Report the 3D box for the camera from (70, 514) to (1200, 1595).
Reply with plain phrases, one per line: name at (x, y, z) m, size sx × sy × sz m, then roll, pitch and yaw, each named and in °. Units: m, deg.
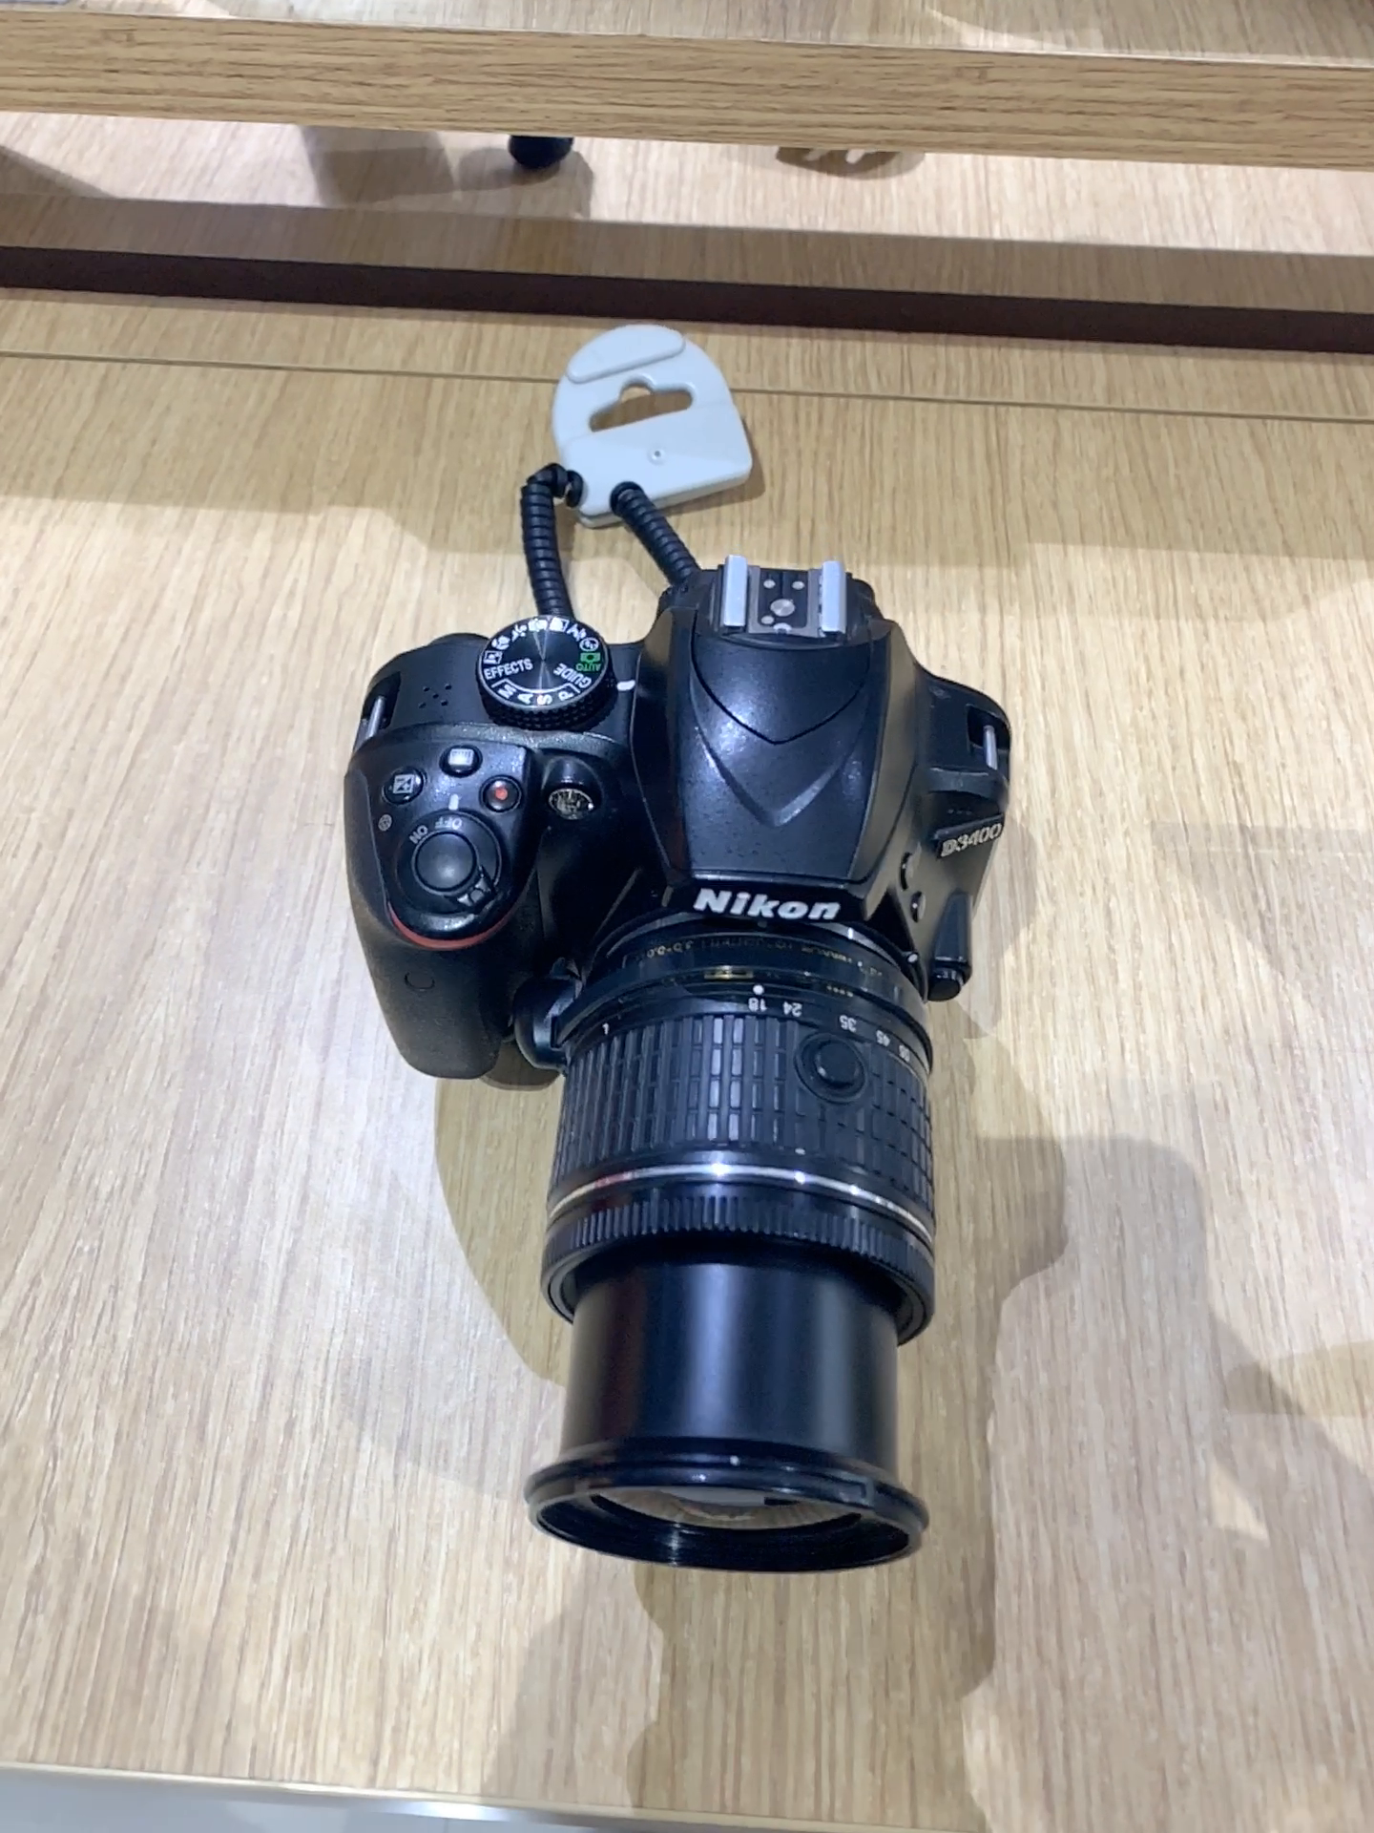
camera at (-0.003, 0.021, 0.228) m, size 0.120 × 0.094 × 0.140 m, roll 3°, pitch 56°, yaw 1°
